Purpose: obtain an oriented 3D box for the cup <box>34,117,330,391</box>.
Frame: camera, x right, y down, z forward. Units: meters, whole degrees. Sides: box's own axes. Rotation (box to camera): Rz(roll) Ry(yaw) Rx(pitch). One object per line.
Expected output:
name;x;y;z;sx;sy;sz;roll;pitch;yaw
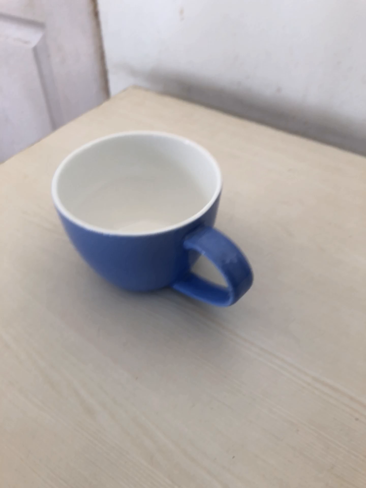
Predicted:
cup;-0.006;-0.006;0.267;0.100;0.070;0.150;-32;53;-28
